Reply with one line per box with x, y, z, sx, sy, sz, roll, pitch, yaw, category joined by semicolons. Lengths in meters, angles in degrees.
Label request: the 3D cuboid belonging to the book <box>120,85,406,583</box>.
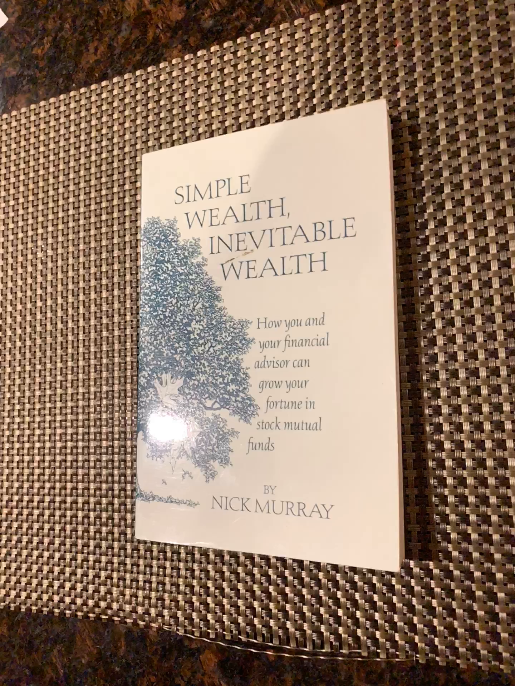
-0.001;-0.005;0.263;0.141;0.021;0.210;-1;85;25;book
